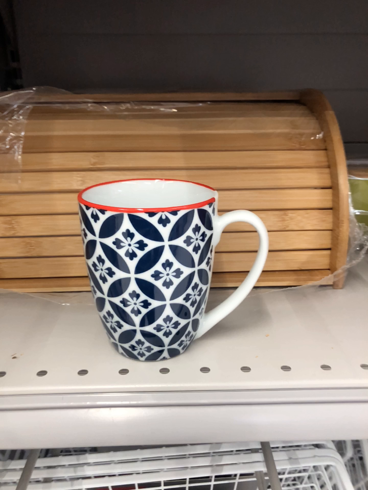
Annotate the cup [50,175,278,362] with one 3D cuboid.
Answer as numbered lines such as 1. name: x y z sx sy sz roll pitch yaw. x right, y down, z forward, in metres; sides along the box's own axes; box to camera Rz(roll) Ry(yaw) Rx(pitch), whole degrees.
1. cup: -0.010 0.010 0.256 0.113 0.090 0.080 -1 21 -1
